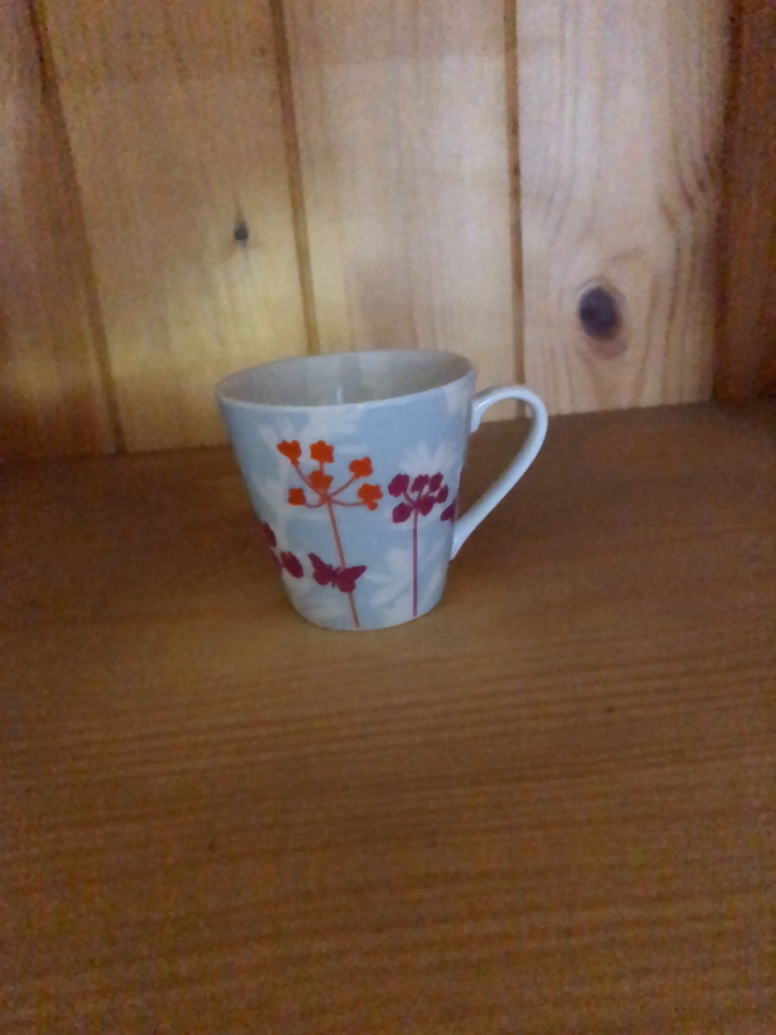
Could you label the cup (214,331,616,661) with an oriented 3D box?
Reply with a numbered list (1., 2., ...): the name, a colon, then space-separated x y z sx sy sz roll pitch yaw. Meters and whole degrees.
1. cup: 0.002 -0.011 0.209 0.080 0.050 0.070 -8 21 -9
